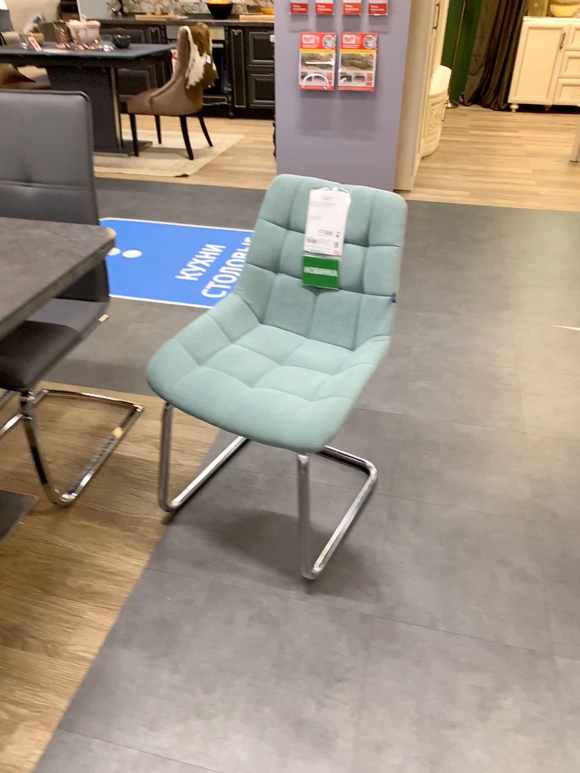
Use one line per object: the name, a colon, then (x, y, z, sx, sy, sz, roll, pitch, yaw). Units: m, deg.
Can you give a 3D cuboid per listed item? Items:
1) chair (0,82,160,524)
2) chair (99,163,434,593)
chair: (-0.790, -0.233, 1.638, 0.510, 1.004, 0.573, 10, 36, 15)
chair: (-0.022, -0.046, 1.507, 0.510, 0.825, 0.553, 17, 38, 24)
